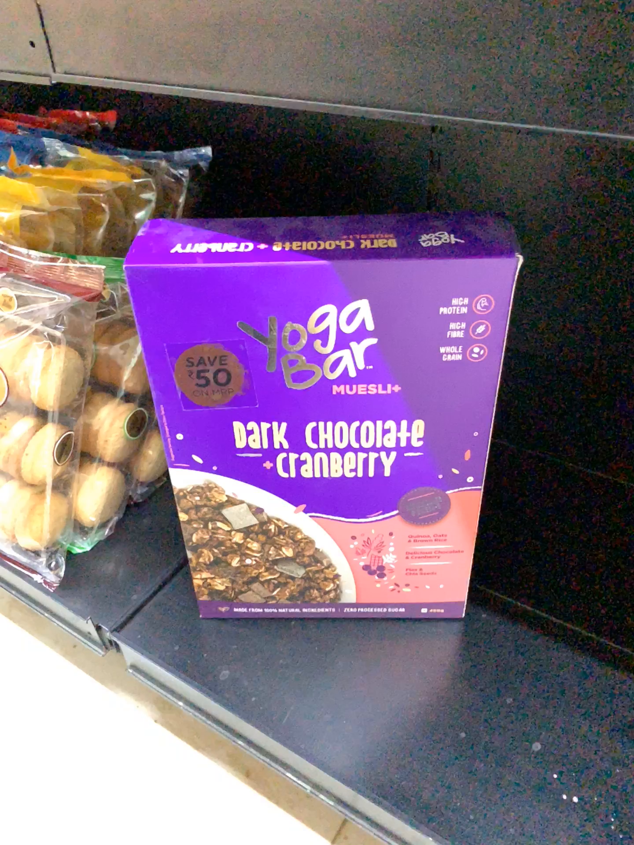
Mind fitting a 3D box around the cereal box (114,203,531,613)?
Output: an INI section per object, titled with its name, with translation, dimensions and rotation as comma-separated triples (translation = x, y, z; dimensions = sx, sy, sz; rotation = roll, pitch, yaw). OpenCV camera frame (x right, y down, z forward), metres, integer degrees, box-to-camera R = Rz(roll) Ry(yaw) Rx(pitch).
[cereal box]
translation = 0.004, 0.005, 0.352
dimensions = 0.170, 0.228, 0.050
rotation = 1, 35, 3
